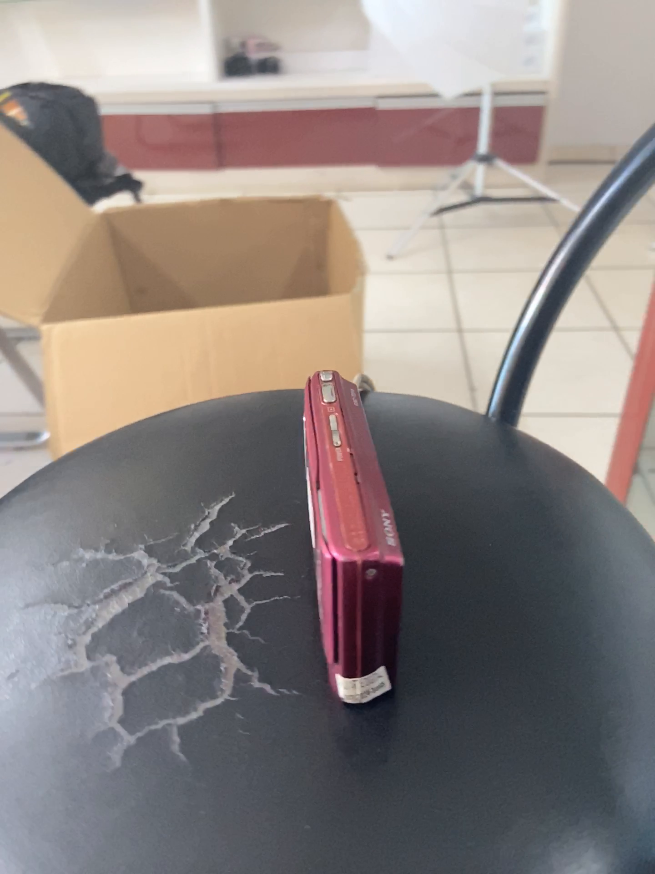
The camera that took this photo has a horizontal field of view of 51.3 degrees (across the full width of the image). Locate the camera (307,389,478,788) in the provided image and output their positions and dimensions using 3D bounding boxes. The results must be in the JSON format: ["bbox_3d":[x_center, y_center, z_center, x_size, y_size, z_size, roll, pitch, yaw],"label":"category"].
[{"bbox_3d":[0.014,0.038,0.206,0.030,0.060,0.101,-5,35,-3],"label":"camera"}]
